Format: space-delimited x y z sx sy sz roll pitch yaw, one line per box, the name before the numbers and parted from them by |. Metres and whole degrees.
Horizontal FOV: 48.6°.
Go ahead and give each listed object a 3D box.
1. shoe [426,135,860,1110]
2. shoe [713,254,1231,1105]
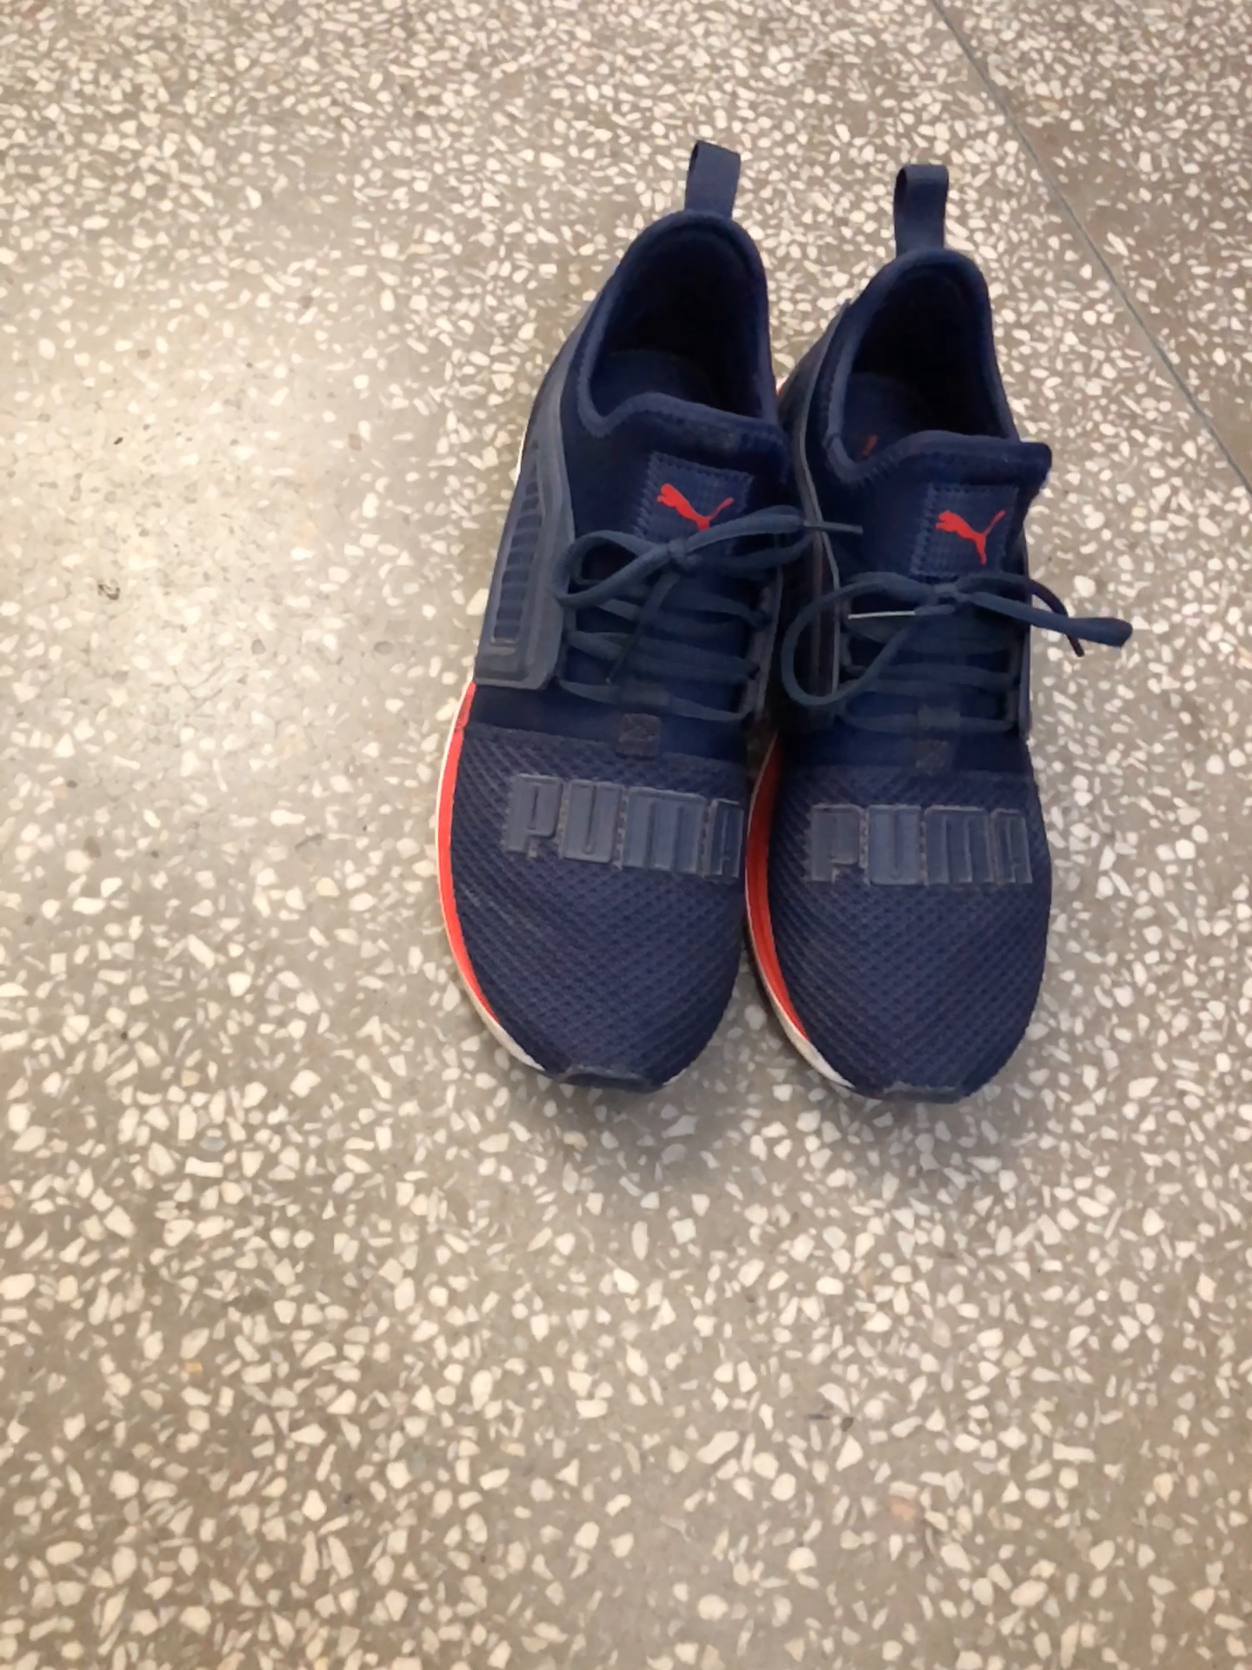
shoe | -0.005 -0.062 0.417 0.100 0.100 0.270 2 69 -9
shoe | 0.090 -0.043 0.429 0.100 0.120 0.230 0 69 -4
